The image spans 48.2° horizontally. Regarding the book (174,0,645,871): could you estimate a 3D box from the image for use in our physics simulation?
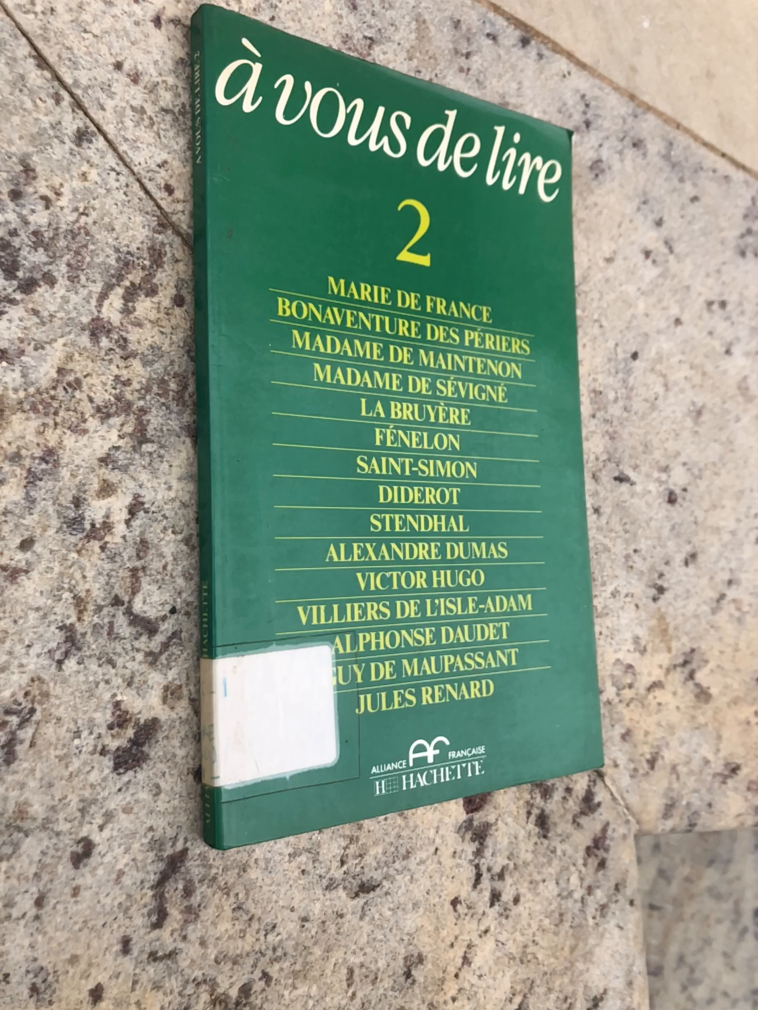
[{"bbox_3d":[0.014,-0.021,0.244,0.141,0.017,0.210,1,83,-32],"label":"book"}]
